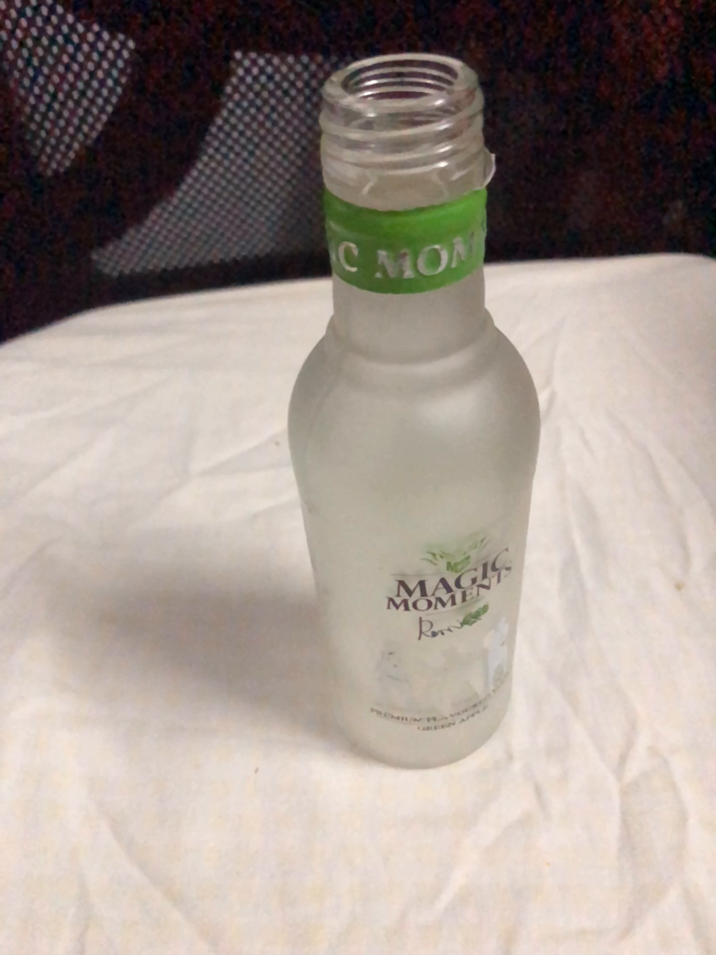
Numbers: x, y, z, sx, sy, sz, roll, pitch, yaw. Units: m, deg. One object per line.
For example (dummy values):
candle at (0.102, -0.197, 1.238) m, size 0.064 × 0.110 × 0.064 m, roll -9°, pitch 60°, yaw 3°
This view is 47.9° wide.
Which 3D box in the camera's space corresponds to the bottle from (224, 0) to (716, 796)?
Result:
bottle at (0.018, 0.002, 0.175) m, size 0.060 × 0.169 × 0.050 m, roll -11°, pitch 46°, yaw -7°
